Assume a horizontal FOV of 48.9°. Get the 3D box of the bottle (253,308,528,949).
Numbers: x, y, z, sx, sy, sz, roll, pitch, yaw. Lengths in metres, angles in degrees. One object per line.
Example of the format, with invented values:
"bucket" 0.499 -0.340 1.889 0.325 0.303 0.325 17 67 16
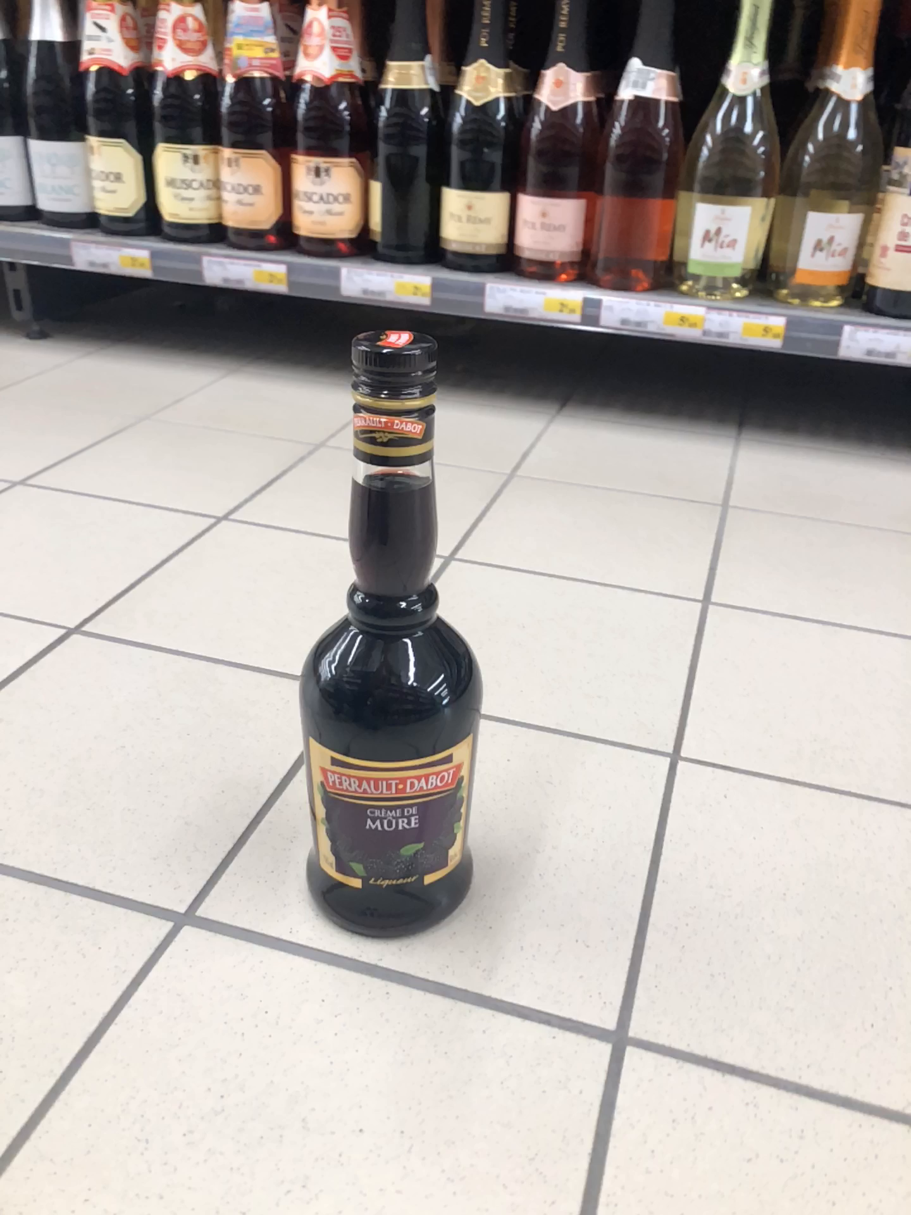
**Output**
"bottle" -0.027 0.016 0.422 0.090 0.258 0.080 2 27 -1
